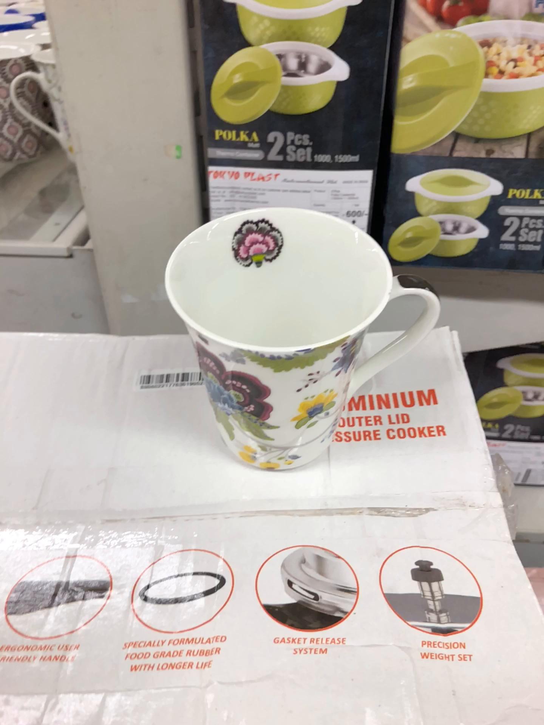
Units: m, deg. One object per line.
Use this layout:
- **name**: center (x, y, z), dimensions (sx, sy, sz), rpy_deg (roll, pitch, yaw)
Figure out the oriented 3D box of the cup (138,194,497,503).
- **cup**: center (0.011, -0.007, 0.262), dimensions (0.120, 0.089, 0.081), rpy_deg (-7, 48, -9)
